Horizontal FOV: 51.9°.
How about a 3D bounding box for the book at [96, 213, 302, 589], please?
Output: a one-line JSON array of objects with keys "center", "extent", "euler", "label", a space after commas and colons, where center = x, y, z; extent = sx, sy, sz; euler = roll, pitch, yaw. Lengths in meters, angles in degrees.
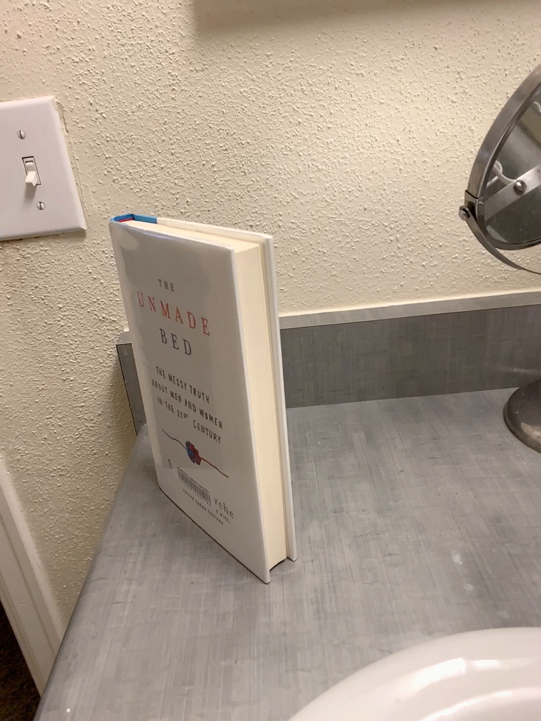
[{"center": [-0.048, 0.019, 0.370], "extent": [0.033, 0.214, 0.152], "euler": [-21, 28, -34], "label": "book"}]
